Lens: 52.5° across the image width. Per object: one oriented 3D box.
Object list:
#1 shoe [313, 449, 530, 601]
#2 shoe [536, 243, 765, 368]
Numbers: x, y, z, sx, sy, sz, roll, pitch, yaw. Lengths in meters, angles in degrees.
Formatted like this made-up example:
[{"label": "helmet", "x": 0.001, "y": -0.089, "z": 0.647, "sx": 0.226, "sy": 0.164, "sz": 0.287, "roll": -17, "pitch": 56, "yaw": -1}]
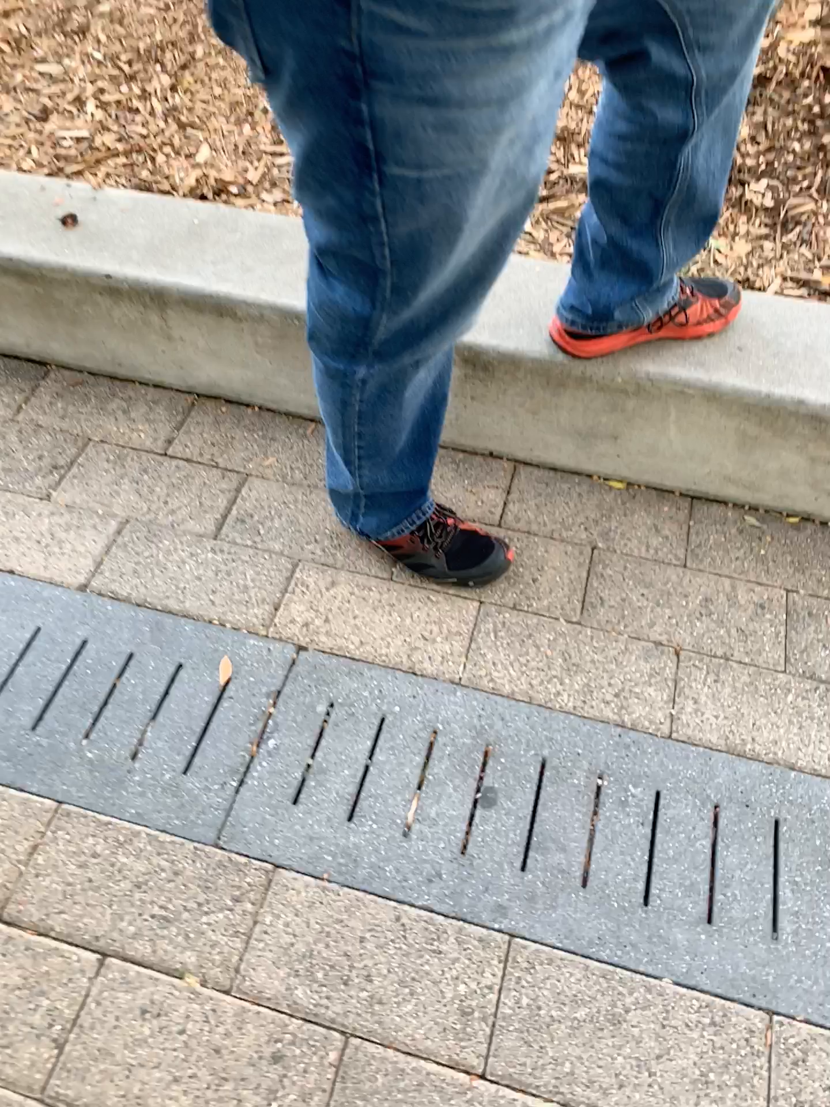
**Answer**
[{"label": "shoe", "x": 0.010, "y": -0.049, "z": 1.328, "sx": 0.306, "sy": 0.080, "sz": 0.137, "roll": 18, "pitch": 54, "yaw": 14}, {"label": "shoe", "x": 0.357, "y": -0.385, "z": 1.297, "sx": 0.310, "sy": 0.080, "sz": 0.122, "roll": -13, "pitch": 53, "yaw": -10}]
